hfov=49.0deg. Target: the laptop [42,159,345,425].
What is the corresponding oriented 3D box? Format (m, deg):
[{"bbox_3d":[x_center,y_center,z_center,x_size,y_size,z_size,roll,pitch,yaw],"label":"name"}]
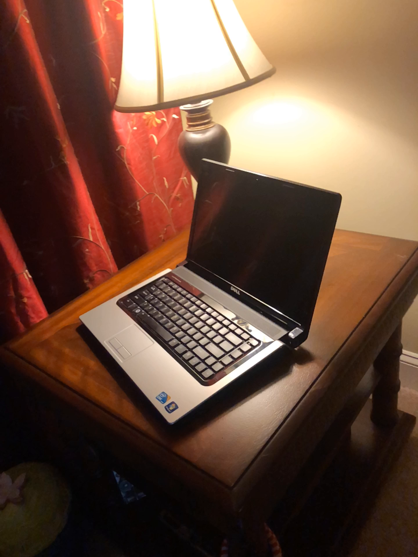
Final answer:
[{"bbox_3d":[-0.030,-0.024,0.782,0.351,0.204,0.363,-27,34,-25],"label":"laptop"}]
